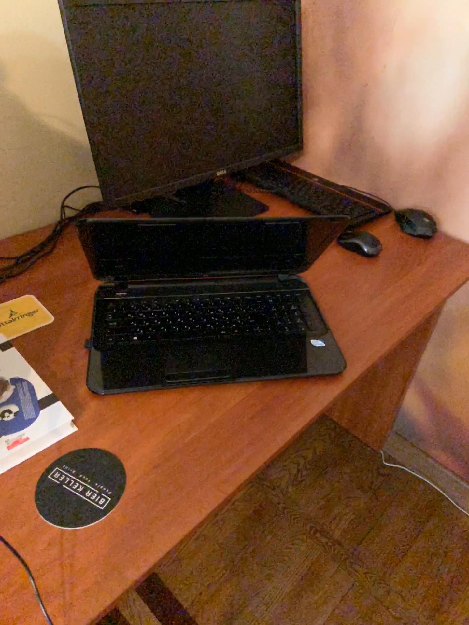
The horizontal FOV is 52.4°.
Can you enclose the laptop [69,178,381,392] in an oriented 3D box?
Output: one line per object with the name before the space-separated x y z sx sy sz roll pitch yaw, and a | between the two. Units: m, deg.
laptop | -0.029 -0.056 0.709 0.369 0.194 0.245 -3 39 -10
